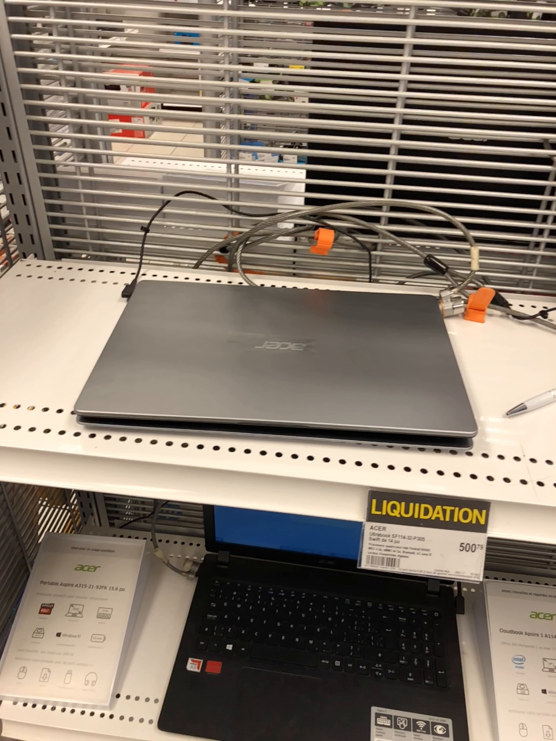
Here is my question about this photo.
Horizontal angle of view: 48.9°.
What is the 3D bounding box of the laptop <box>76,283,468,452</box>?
[{"bbox_3d":[0.001,-0.016,0.578,0.316,0.006,0.220,3,39,3],"label":"laptop"}]
